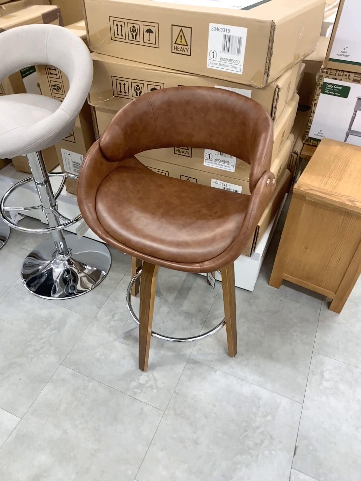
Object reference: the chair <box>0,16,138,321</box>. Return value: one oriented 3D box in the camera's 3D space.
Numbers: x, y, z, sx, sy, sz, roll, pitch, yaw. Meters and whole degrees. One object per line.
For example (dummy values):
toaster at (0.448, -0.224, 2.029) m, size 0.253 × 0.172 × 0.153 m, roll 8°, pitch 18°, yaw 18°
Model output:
chair at (-0.537, -0.248, 1.433) m, size 0.494 × 0.946 × 0.524 m, roll 16°, pitch 45°, yaw 16°

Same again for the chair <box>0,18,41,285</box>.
chair at (-1.046, -0.345, 1.541) m, size 0.494 × 0.886 × 0.473 m, roll 16°, pitch 45°, yaw 16°

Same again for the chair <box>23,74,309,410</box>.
chair at (-0.001, 0.014, 1.231) m, size 0.544 × 0.846 × 0.554 m, roll 18°, pitch 46°, yaw 18°
